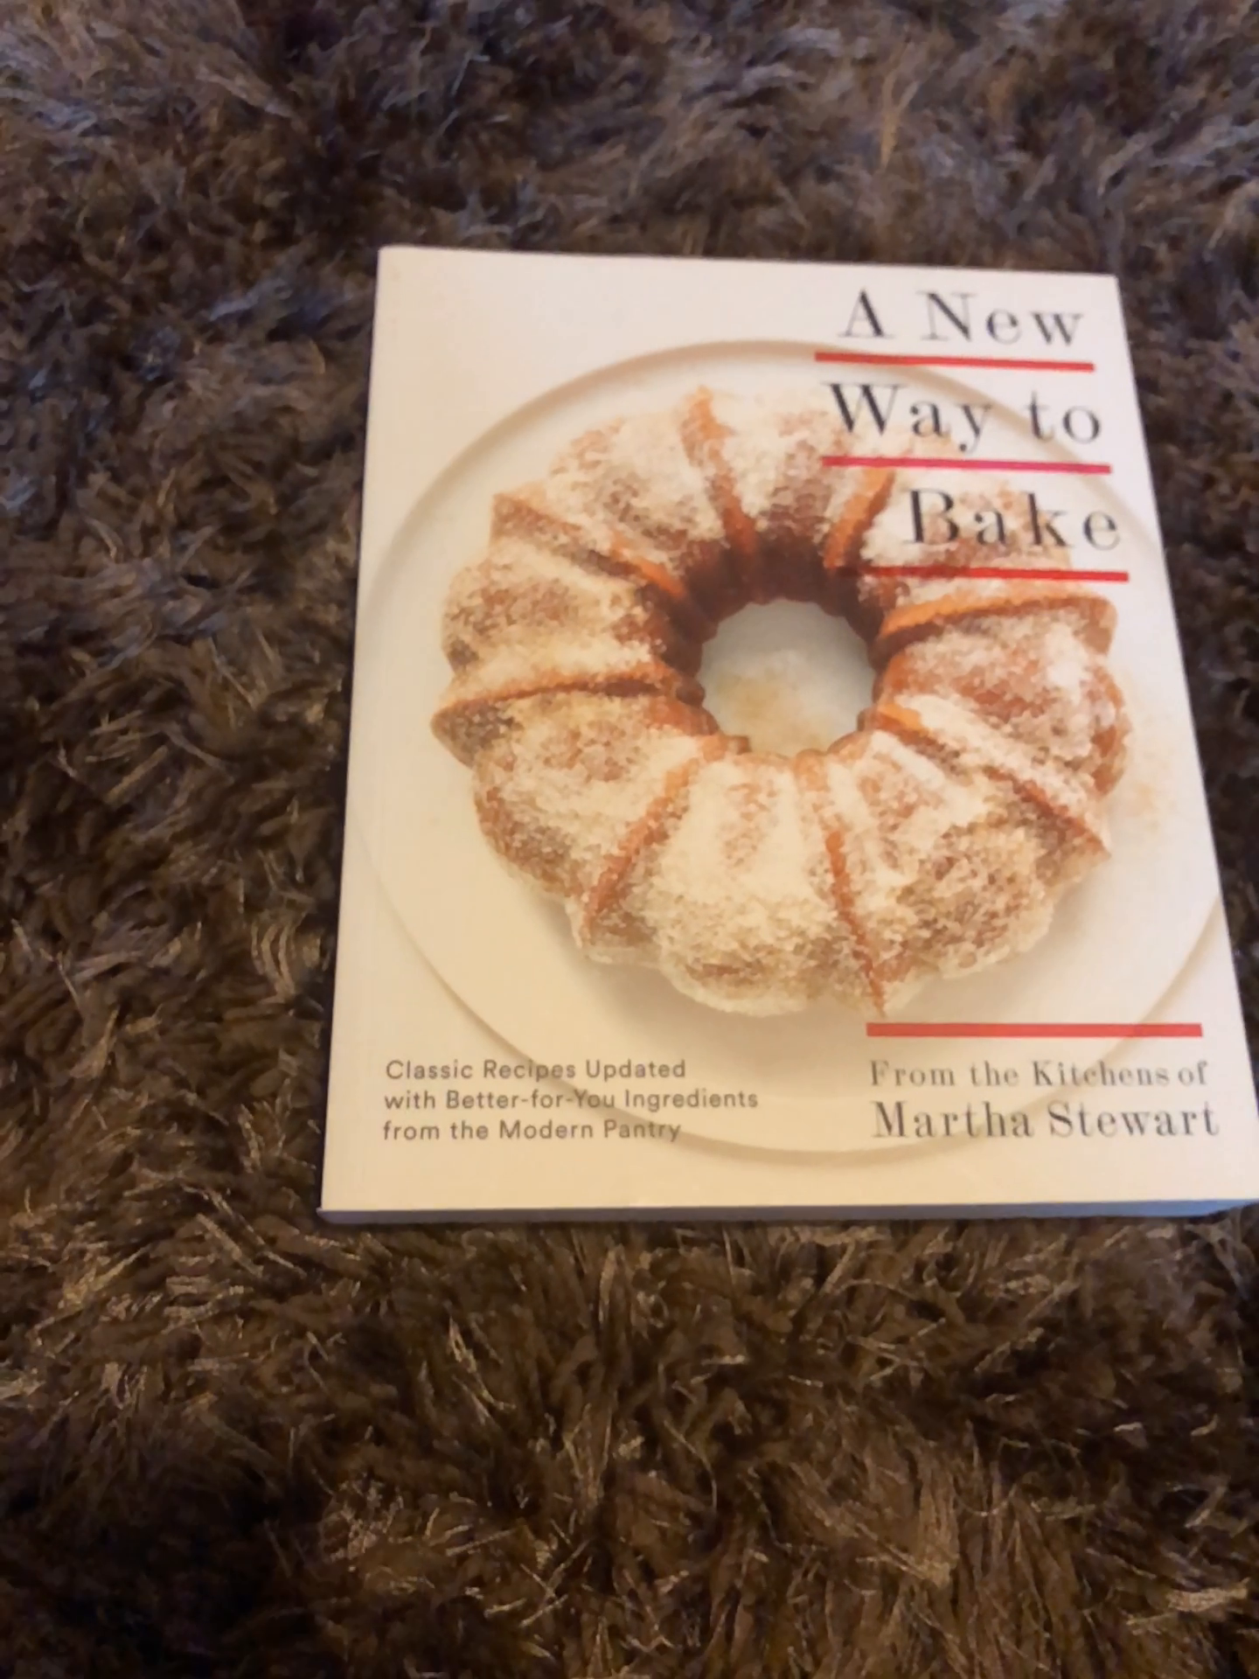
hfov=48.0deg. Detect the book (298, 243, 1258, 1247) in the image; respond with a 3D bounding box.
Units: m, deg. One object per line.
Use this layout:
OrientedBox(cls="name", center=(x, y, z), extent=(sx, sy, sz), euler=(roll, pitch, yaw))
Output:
OrientedBox(cls="book", center=(0.030, -0.029, 0.326), extent=(0.192, 0.040, 0.229), euler=(0, 69, -5))
